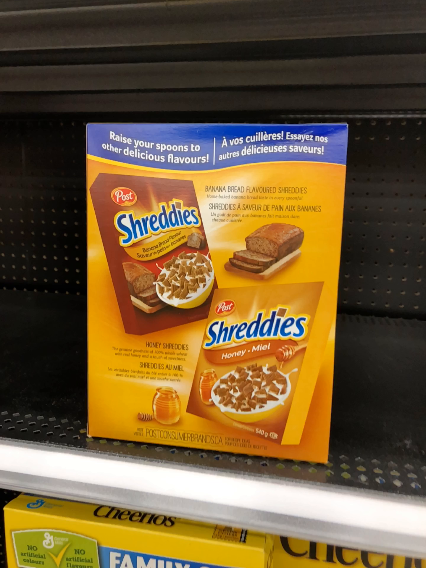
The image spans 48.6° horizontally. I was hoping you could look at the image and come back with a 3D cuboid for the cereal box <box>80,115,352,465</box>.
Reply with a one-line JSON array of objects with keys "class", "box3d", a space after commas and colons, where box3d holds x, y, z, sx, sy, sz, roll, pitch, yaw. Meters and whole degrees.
[{"class": "cereal box", "box3d": [-0.002, 0.001, 0.405, 0.210, 0.269, 0.060, 3, 7, 9]}]
